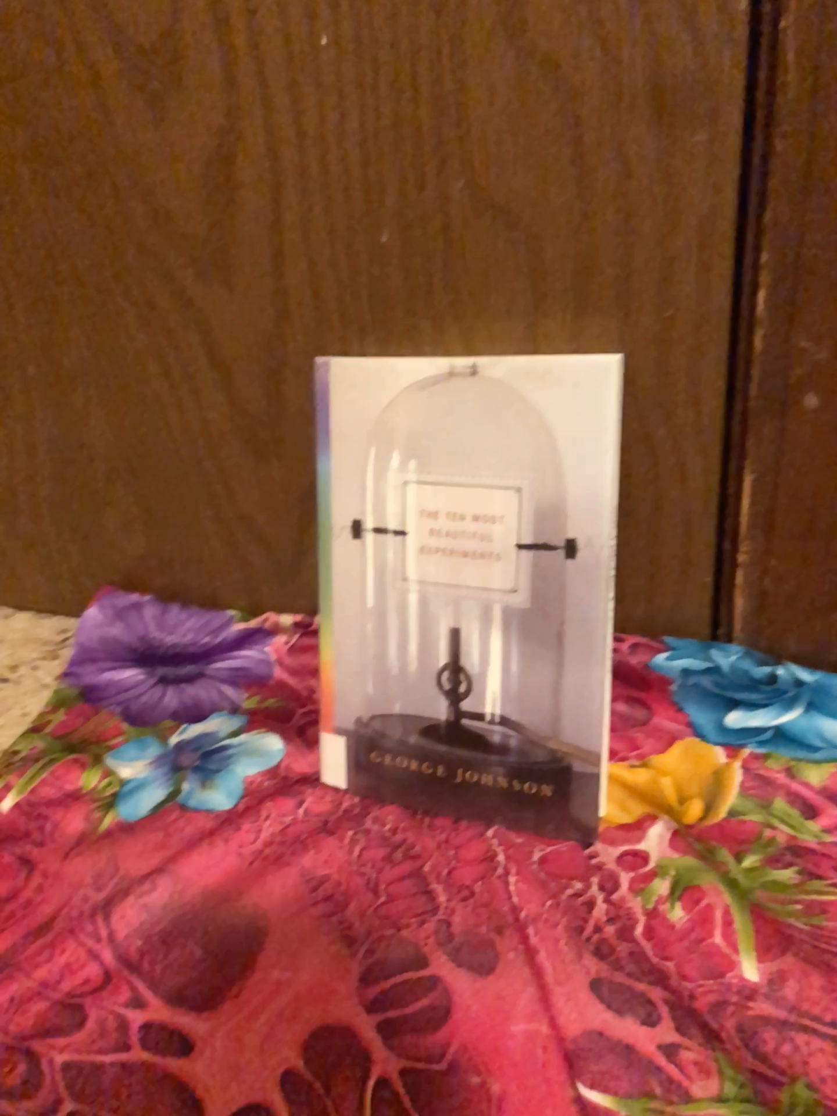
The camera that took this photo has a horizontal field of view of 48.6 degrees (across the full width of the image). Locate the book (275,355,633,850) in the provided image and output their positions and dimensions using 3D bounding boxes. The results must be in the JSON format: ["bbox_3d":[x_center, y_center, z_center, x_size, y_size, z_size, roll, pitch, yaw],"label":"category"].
[{"bbox_3d":[0.010,0.013,0.389,0.140,0.190,0.033,5,11,21],"label":"book"}]
